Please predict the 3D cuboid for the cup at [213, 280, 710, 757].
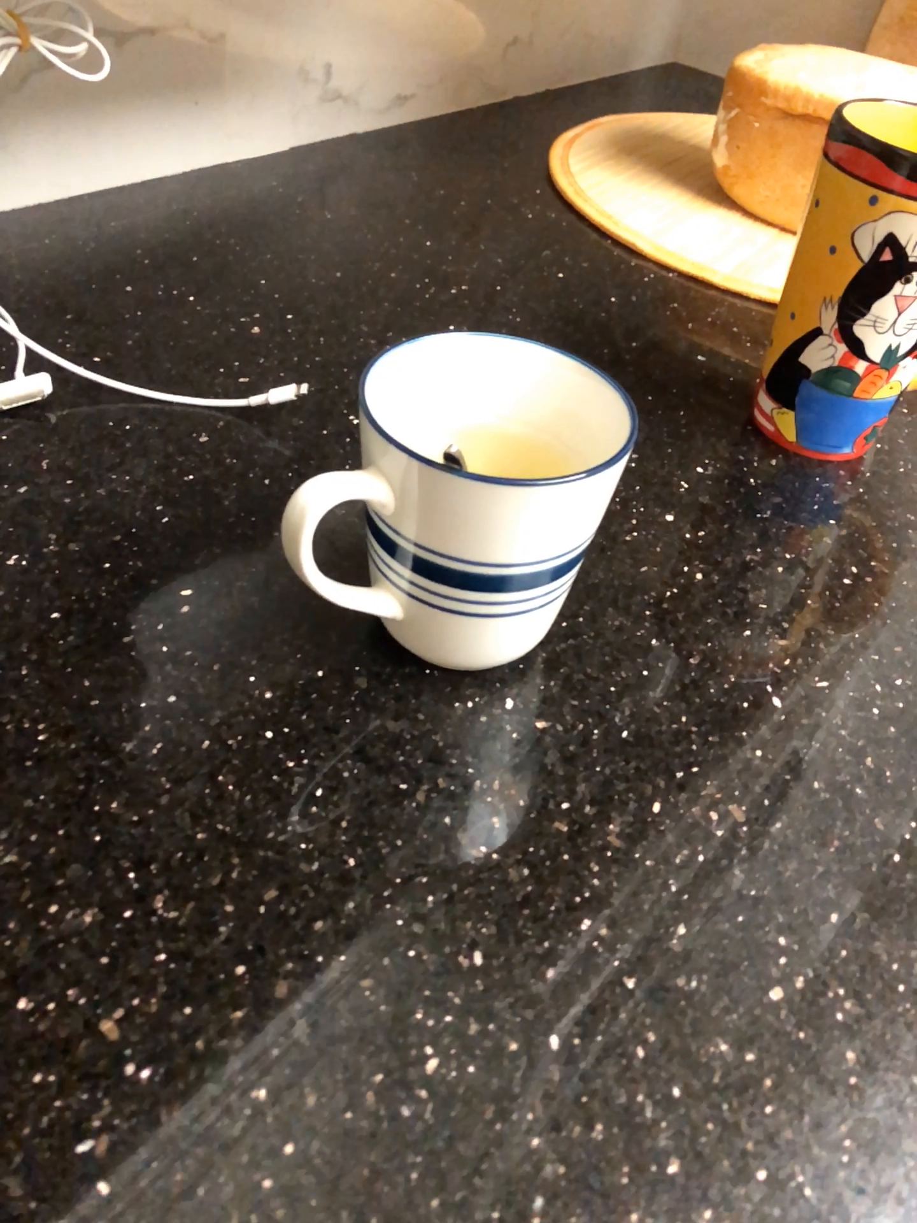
[{"bbox_3d":[-0.006,-0.035,0.333,0.120,0.099,0.090,-17,49,-27],"label":"cup"}]
